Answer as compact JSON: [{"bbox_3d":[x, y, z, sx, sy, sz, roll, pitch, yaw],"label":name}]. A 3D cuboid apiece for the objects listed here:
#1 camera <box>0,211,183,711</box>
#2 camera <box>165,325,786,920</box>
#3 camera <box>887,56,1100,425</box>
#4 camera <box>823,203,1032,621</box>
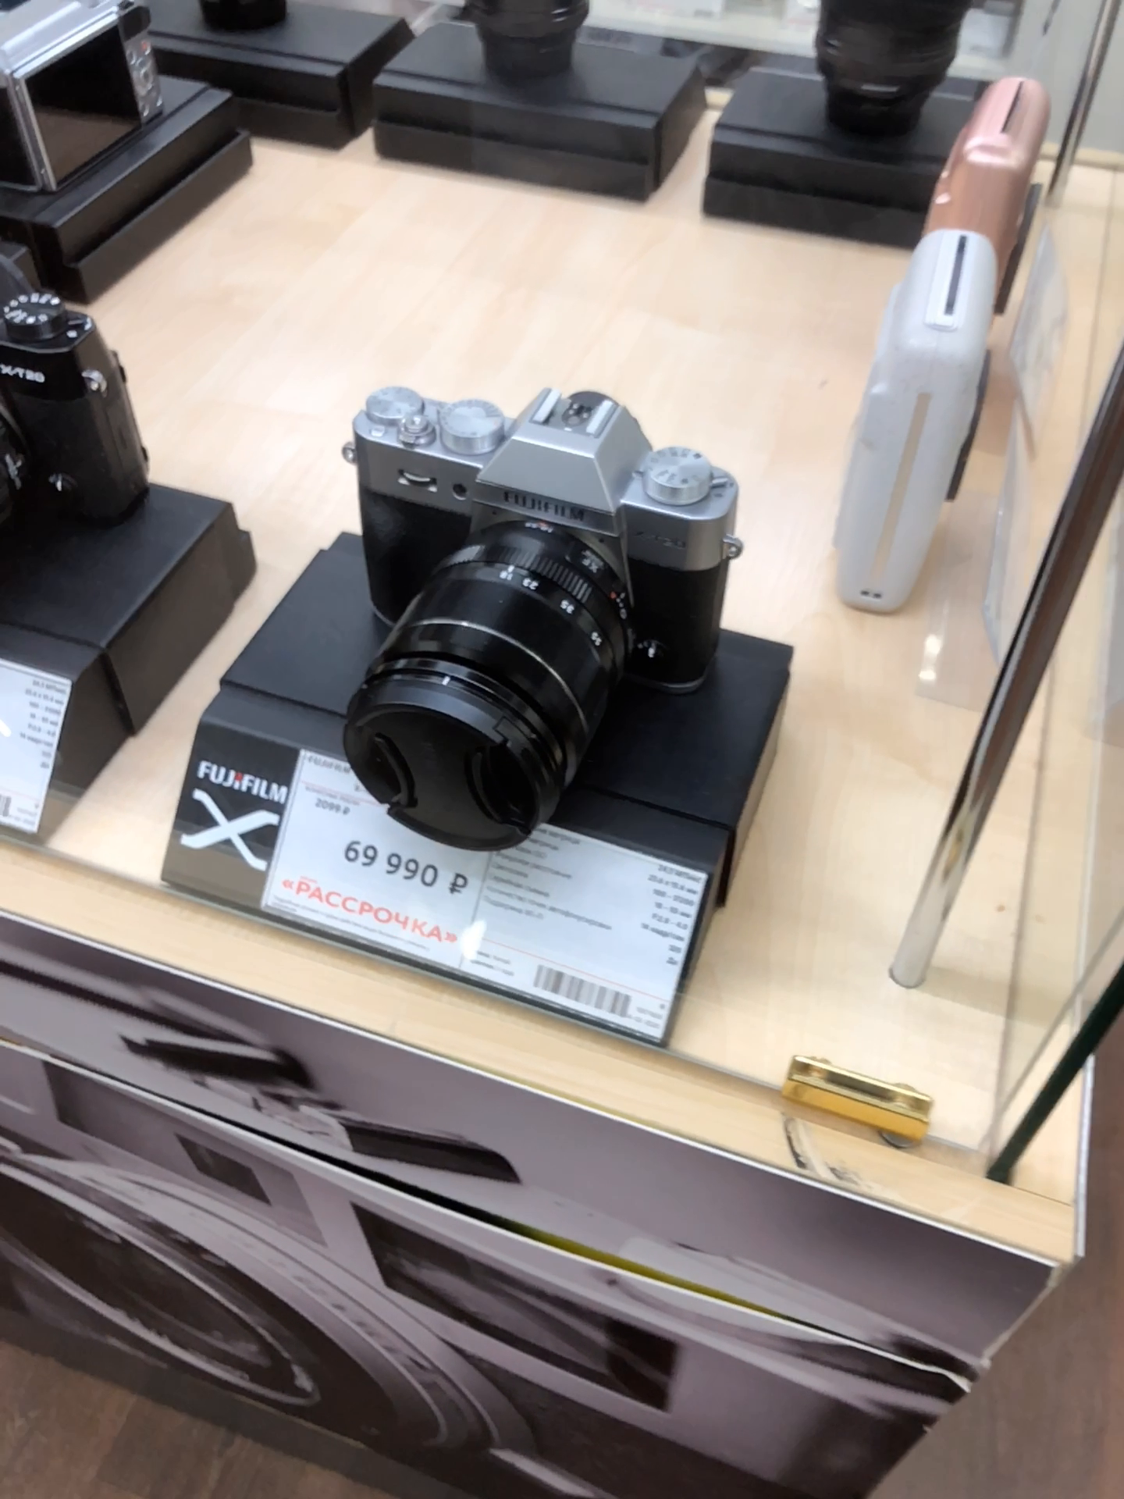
[{"bbox_3d":[-0.225,-0.102,0.418,0.123,0.080,0.131,18,50,14],"label":"camera"},{"bbox_3d":[-0.018,-0.043,0.366,0.123,0.080,0.131,18,50,14],"label":"camera"},{"bbox_3d":[0.193,-0.228,0.563,0.043,0.118,0.101,20,51,15],"label":"camera"},{"bbox_3d":[0.133,-0.123,0.459,0.039,0.110,0.094,14,49,10],"label":"camera"}]
